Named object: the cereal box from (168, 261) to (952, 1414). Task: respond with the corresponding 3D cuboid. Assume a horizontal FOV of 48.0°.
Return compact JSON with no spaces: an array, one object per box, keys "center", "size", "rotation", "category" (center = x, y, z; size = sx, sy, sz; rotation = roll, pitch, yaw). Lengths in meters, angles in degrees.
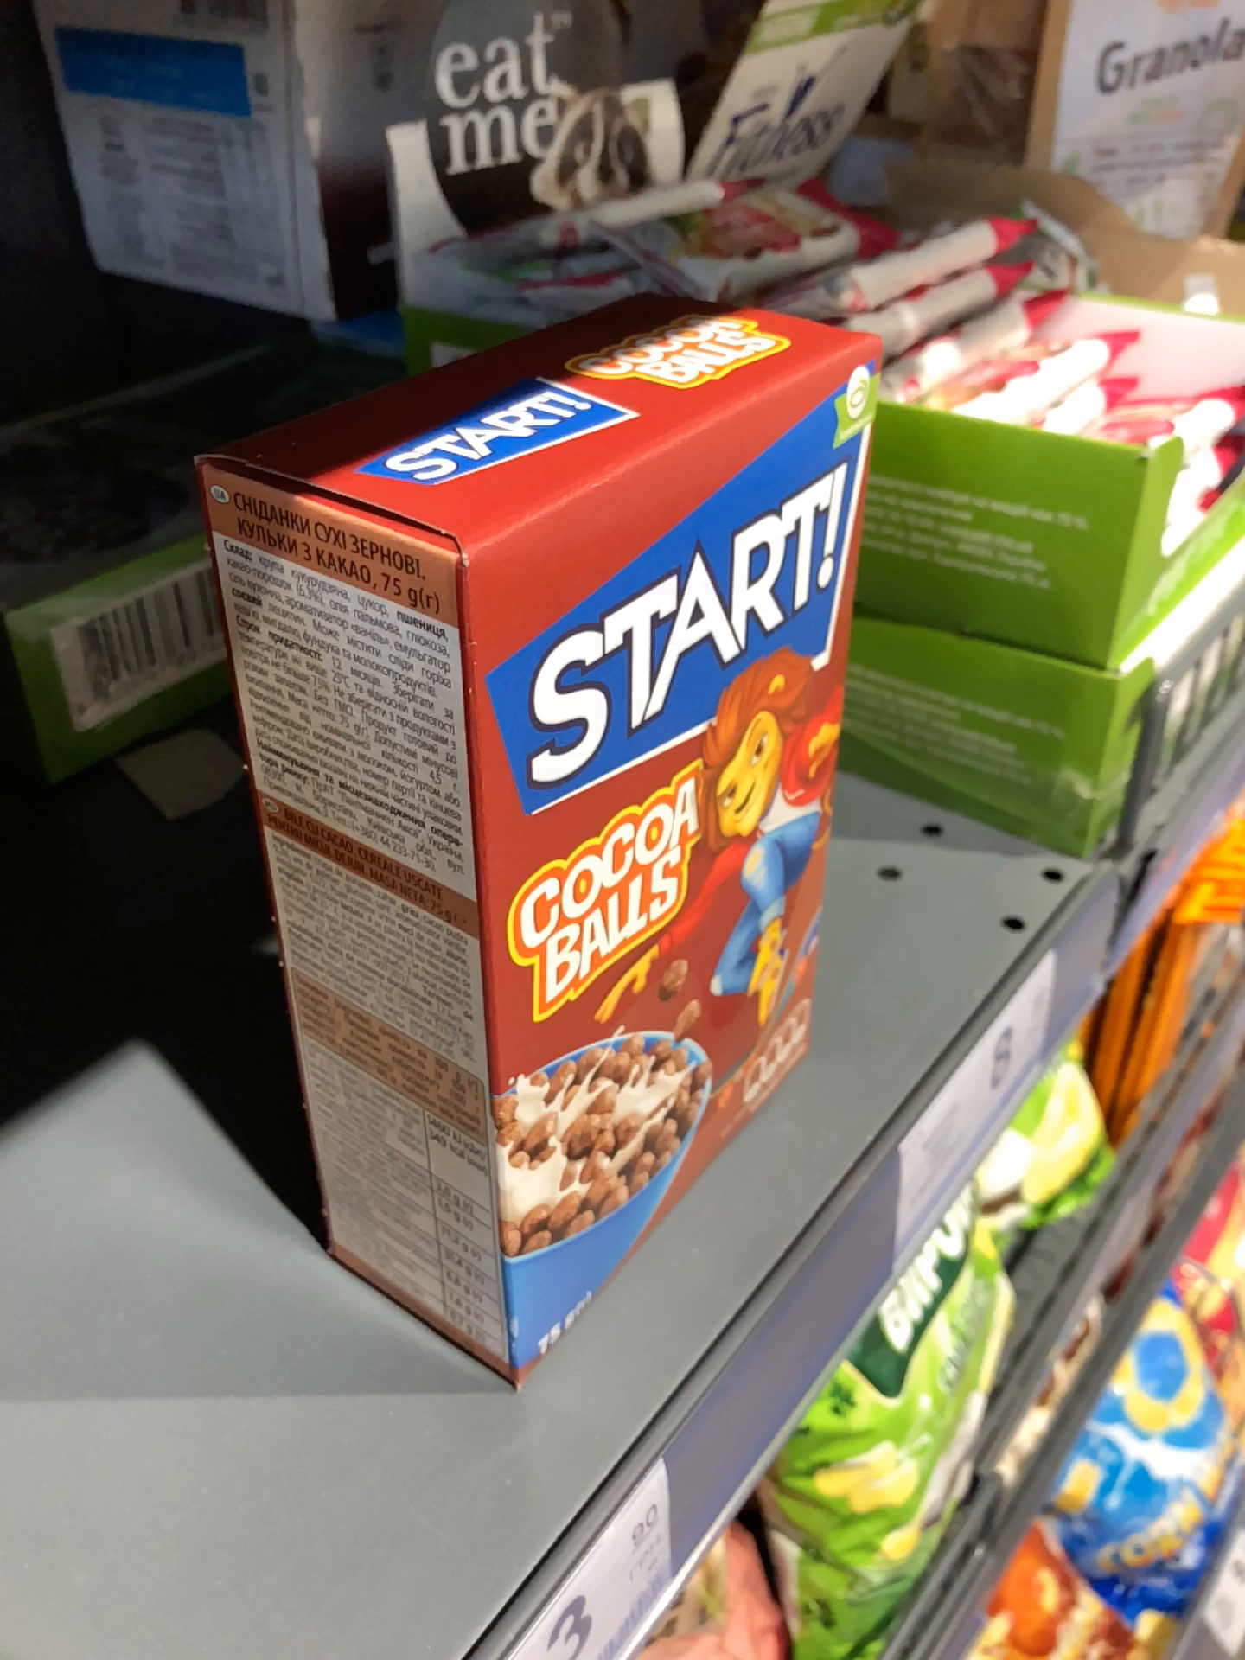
[{"center":[-0.005,0.001,0.255],"size":[0.060,0.169,0.111],"rotation":[24,41,28],"category":"cereal box"}]
